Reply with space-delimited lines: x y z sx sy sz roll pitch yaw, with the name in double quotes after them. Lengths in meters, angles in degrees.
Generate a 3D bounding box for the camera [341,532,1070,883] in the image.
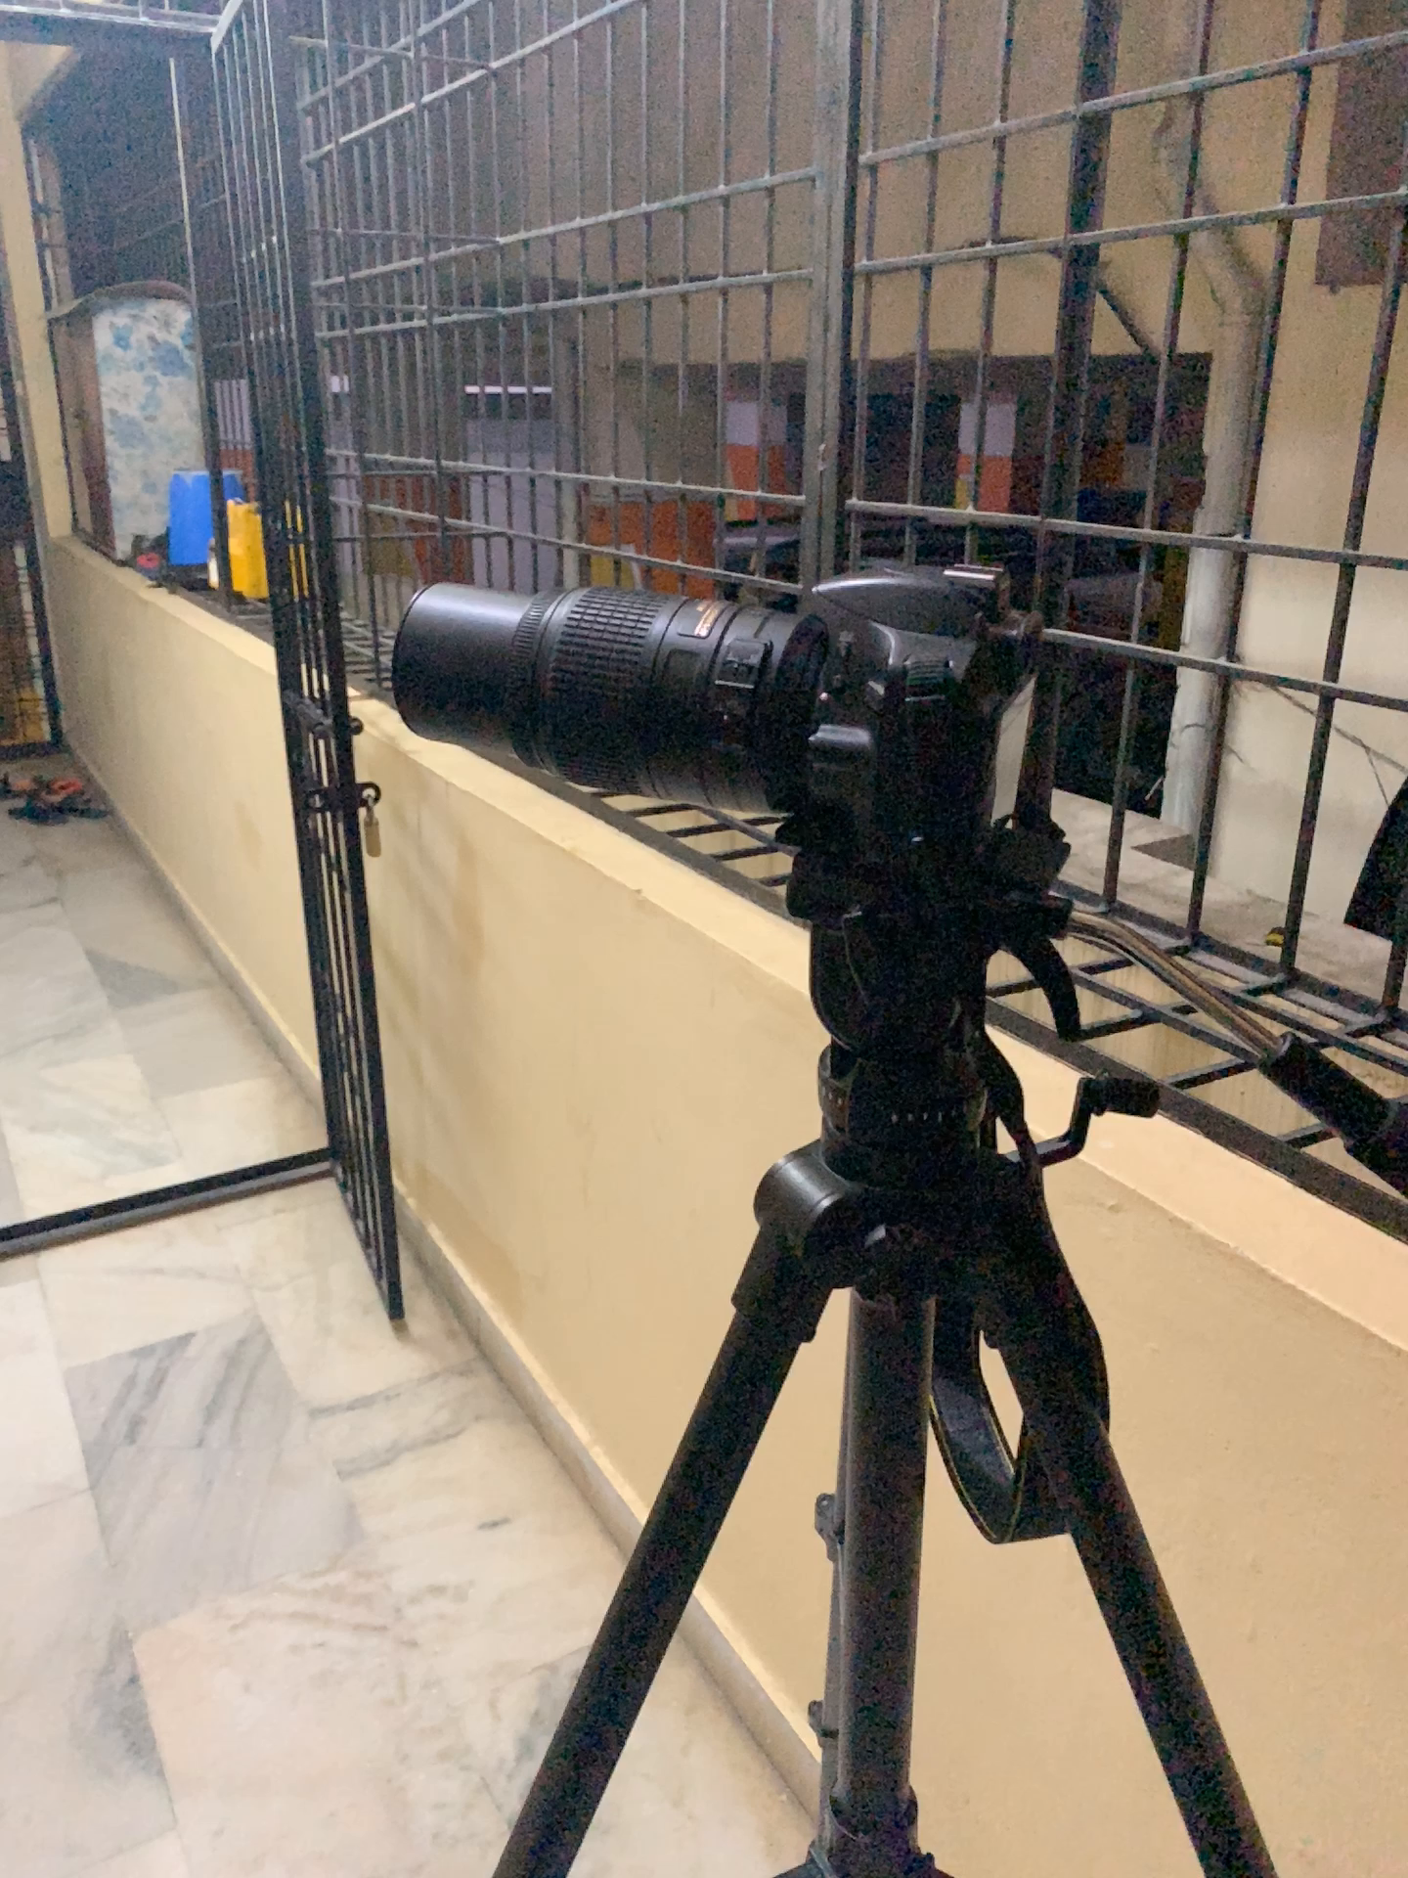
0.005 -0.093 0.523 0.230 0.090 0.120 7 21 19 "camera"
